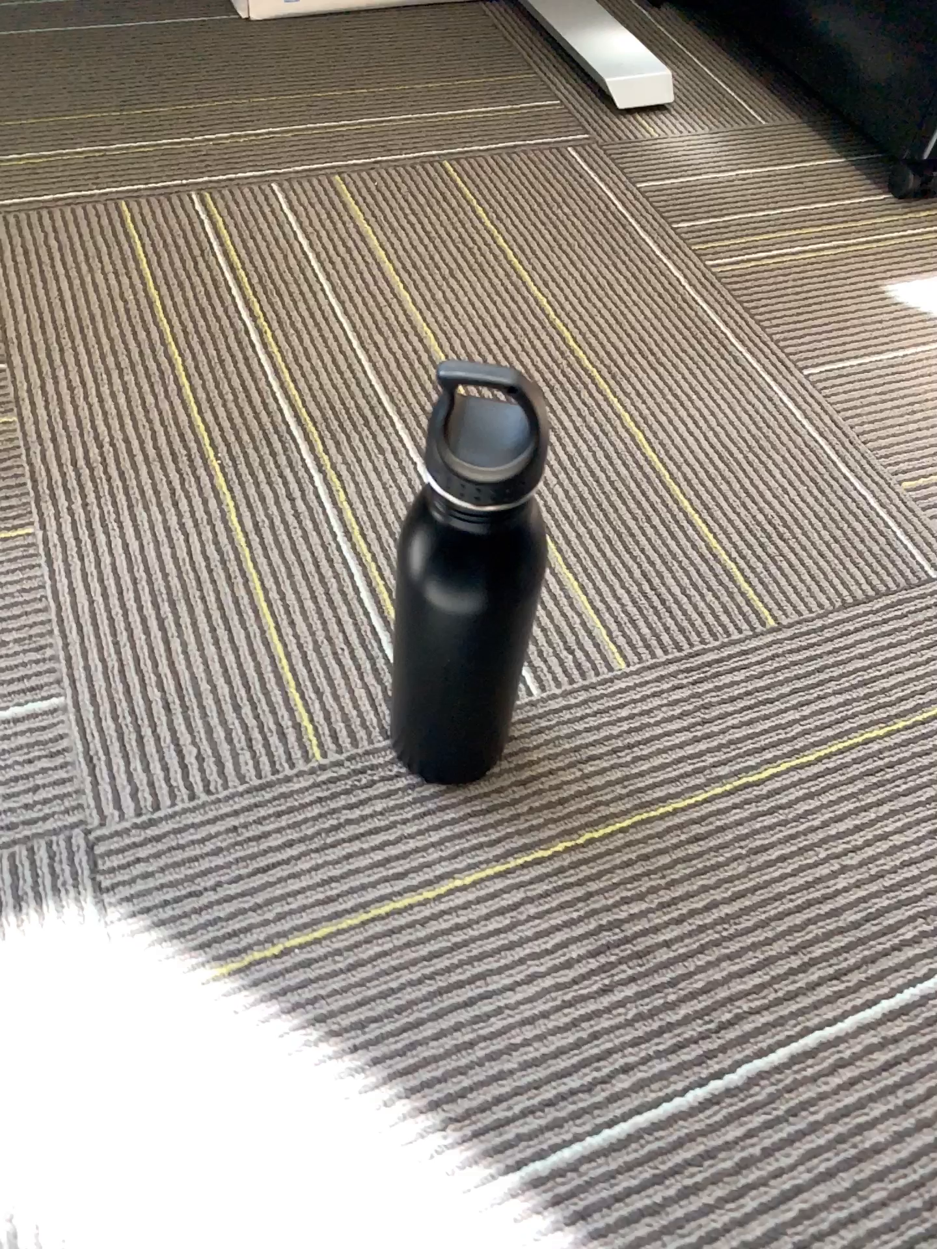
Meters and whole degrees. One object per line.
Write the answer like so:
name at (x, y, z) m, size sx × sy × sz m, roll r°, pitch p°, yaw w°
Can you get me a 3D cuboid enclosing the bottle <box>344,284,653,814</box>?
bottle at (0.002, -0.017, 0.451) m, size 0.090 × 0.249 × 0.080 m, roll 23°, pitch 54°, yaw 11°
